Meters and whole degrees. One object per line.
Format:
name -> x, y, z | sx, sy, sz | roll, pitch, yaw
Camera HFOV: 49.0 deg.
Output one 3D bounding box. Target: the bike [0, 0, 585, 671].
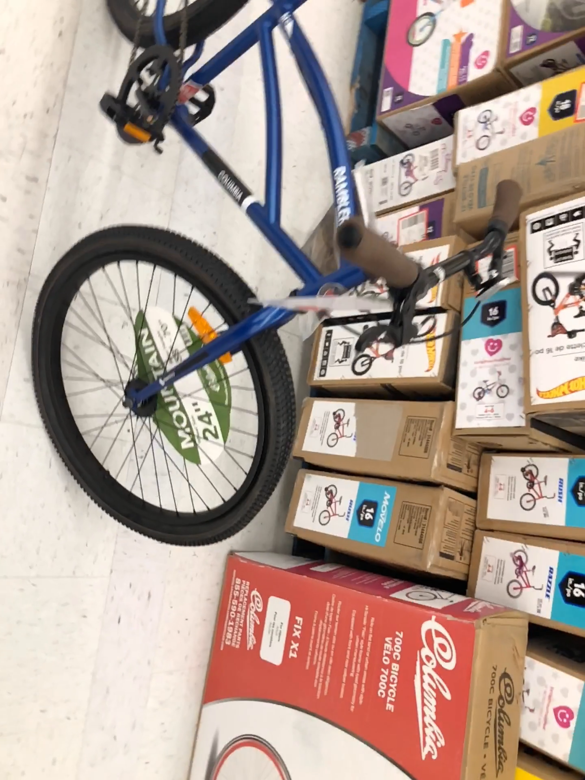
bike -> -0.016, -0.484, 1.156 | 0.652, 0.929, 1.552 | 5, 85, -46
